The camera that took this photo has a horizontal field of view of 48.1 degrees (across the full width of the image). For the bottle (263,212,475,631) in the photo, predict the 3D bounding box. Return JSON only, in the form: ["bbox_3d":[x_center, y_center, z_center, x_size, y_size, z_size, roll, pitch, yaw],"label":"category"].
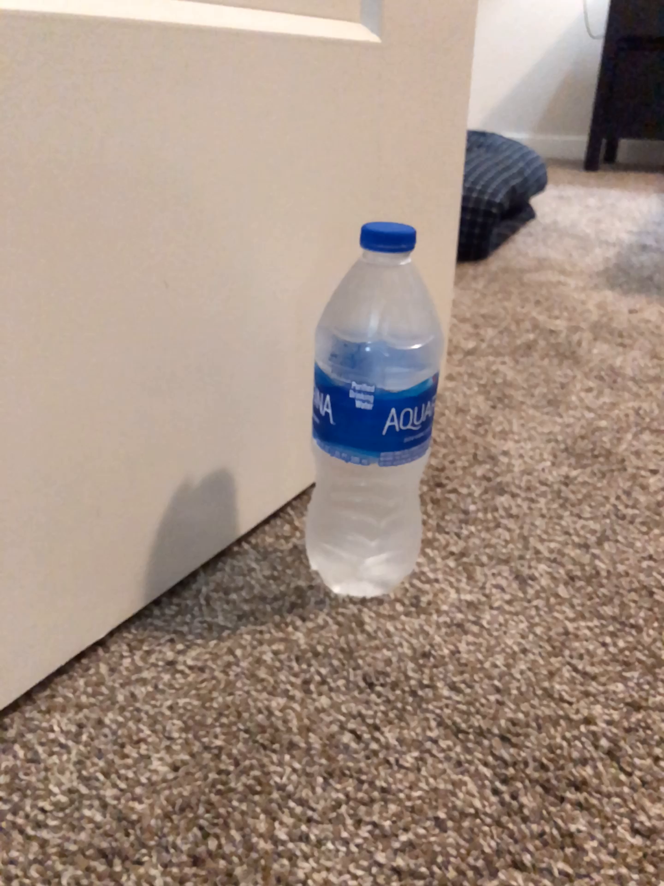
[{"bbox_3d":[0.017,-0.012,0.380,0.070,0.189,0.070,1,26,0],"label":"bottle"}]
